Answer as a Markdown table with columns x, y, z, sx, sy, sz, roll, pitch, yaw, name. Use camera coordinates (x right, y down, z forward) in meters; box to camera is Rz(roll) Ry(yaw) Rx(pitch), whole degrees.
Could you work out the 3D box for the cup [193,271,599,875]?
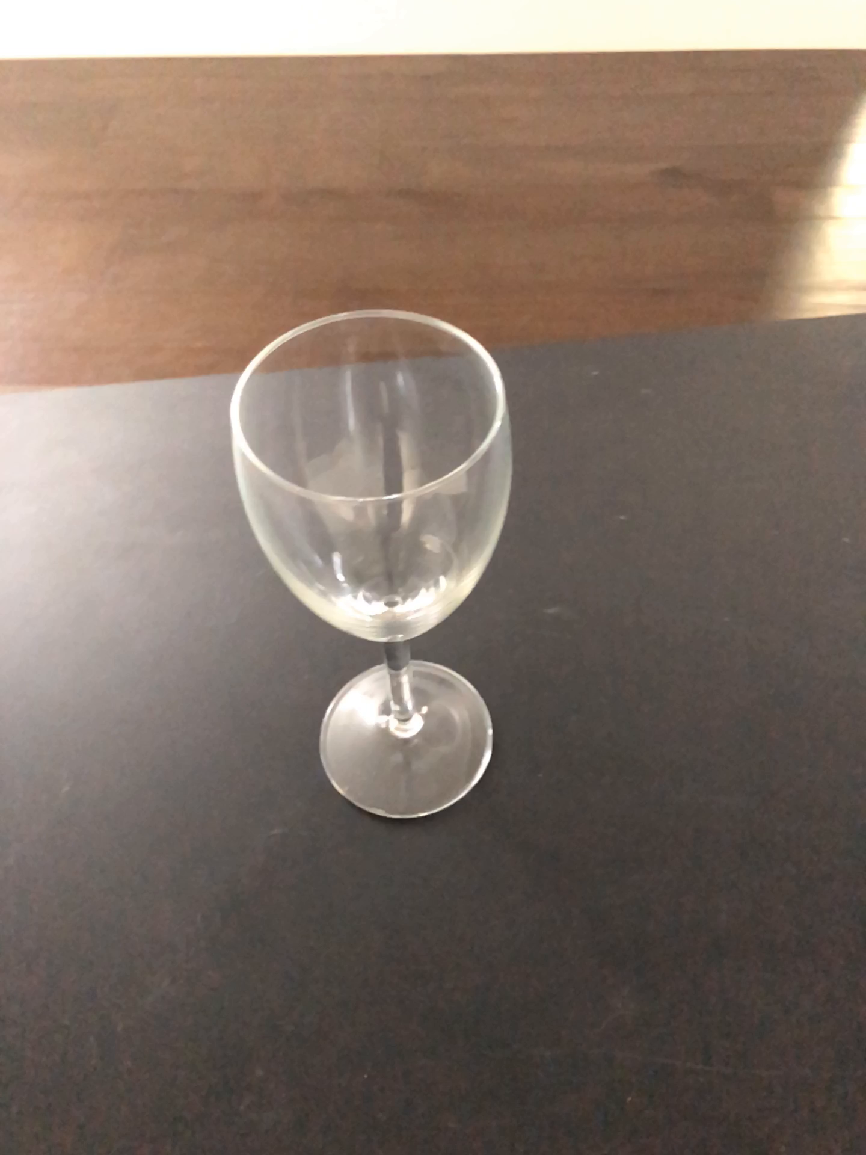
| x | y | z | sx | sy | sz | roll | pitch | yaw | name |
| --- | --- | --- | --- | --- | --- | --- | --- | --- | --- |
| -0.010 | 0.011 | 0.308 | 0.080 | 0.179 | 0.081 | -1 | 51 | 1 | cup |
